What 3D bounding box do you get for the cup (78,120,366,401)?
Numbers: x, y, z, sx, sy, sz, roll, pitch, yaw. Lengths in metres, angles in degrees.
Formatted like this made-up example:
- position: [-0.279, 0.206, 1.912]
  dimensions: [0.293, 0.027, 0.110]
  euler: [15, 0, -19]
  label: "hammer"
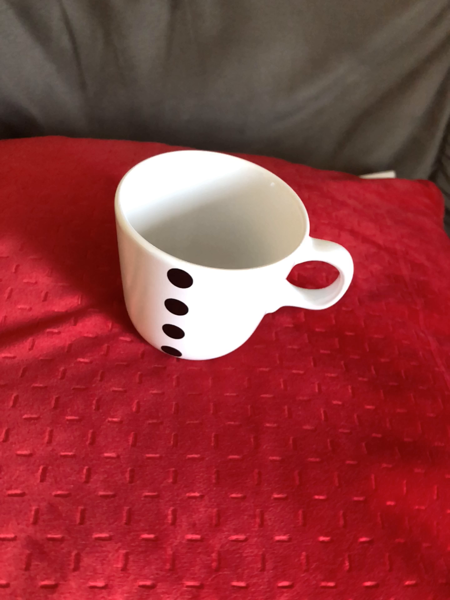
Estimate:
- position: [-0.001, -0.019, 0.244]
  dimensions: [0.110, 0.080, 0.080]
  euler: [13, 45, 0]
  label: "cup"
